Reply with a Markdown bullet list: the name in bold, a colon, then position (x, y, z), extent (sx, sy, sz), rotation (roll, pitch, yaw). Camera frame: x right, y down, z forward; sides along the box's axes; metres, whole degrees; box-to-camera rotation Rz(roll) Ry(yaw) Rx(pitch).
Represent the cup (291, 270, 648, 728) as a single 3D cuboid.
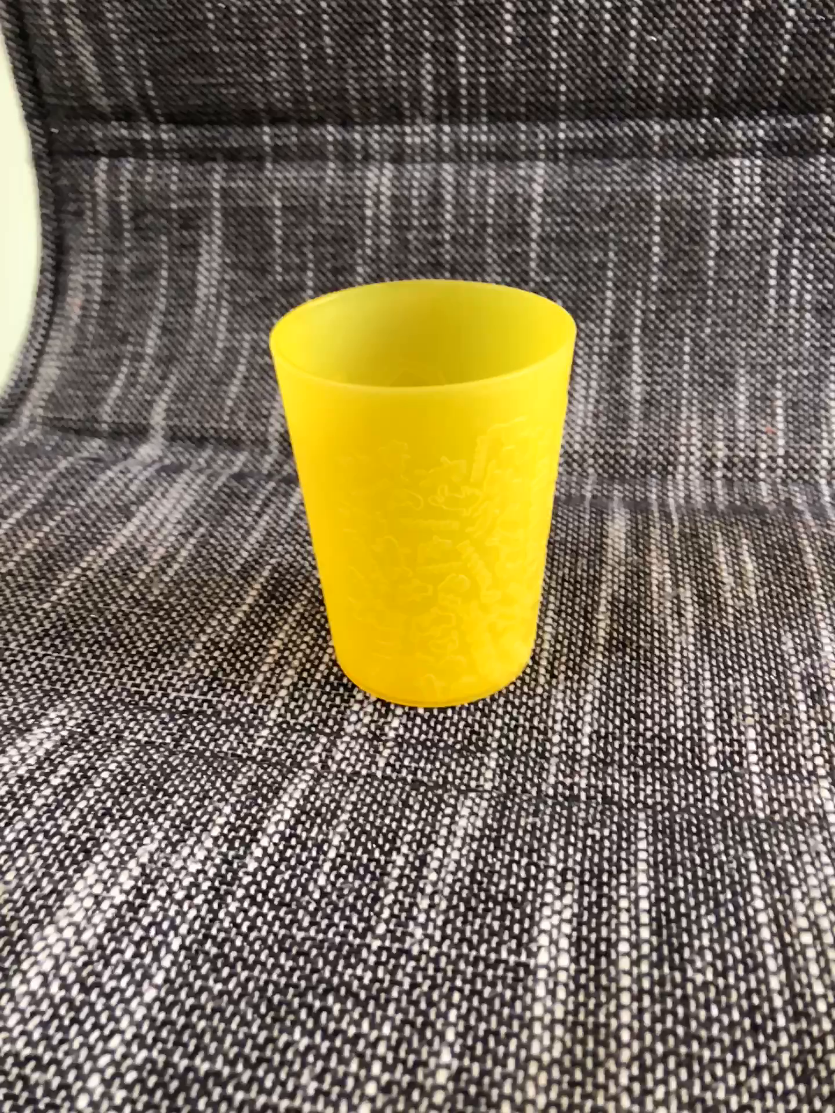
- **cup**: position (0.011, -0.013, 0.204), extent (0.060, 0.079, 0.060), rotation (-1, 34, 1)
